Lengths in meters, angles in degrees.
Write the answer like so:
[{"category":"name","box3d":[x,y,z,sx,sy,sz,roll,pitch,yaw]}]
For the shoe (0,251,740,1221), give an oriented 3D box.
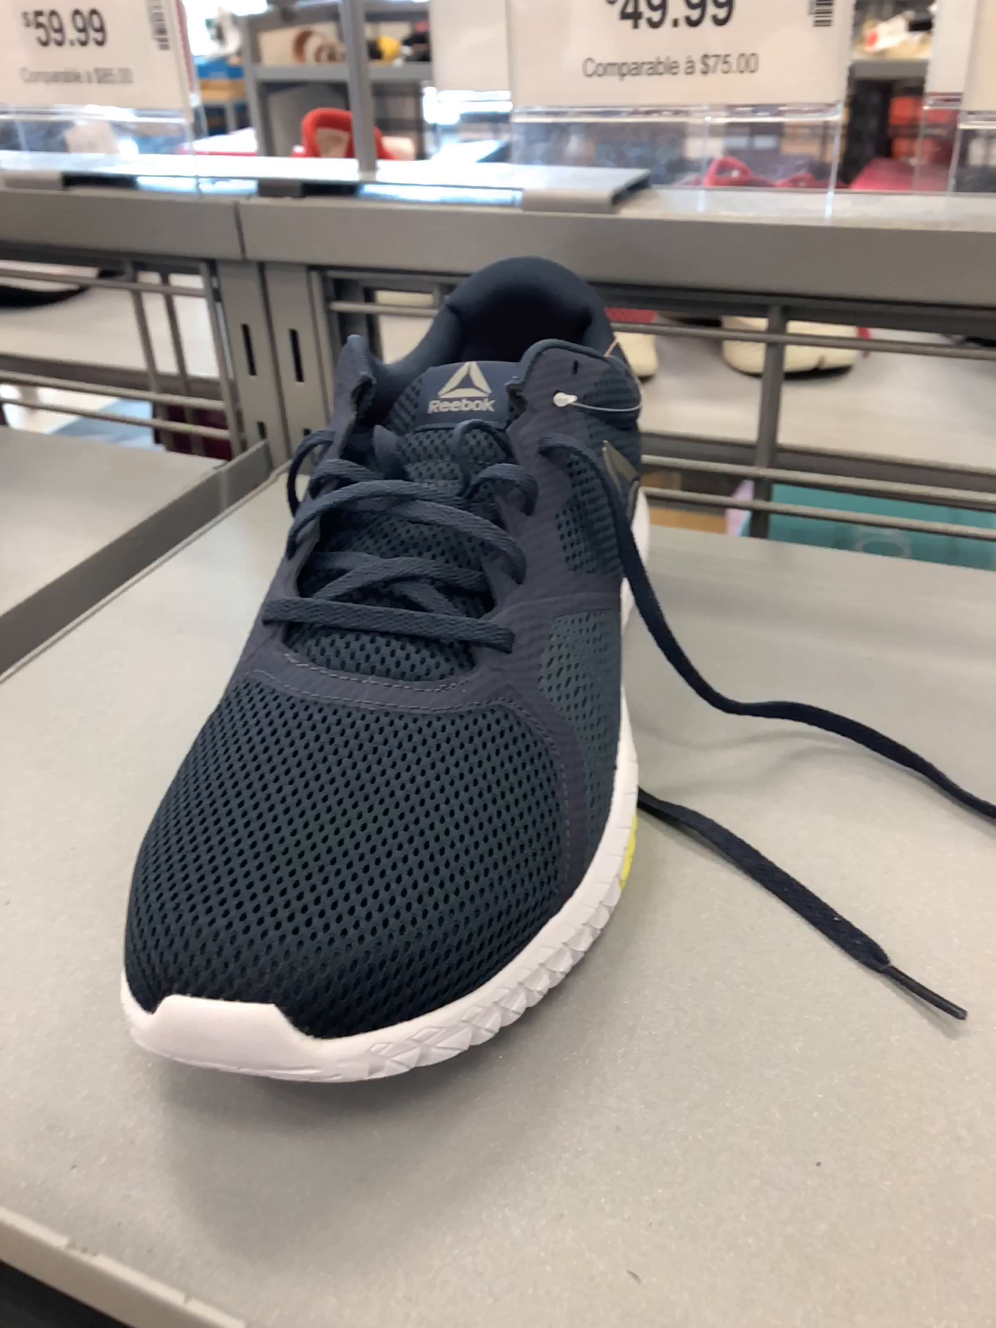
[{"category":"shoe","box3d":[-0.006,-0.030,0.330,0.120,0.109,0.322,6,33,14]}]
